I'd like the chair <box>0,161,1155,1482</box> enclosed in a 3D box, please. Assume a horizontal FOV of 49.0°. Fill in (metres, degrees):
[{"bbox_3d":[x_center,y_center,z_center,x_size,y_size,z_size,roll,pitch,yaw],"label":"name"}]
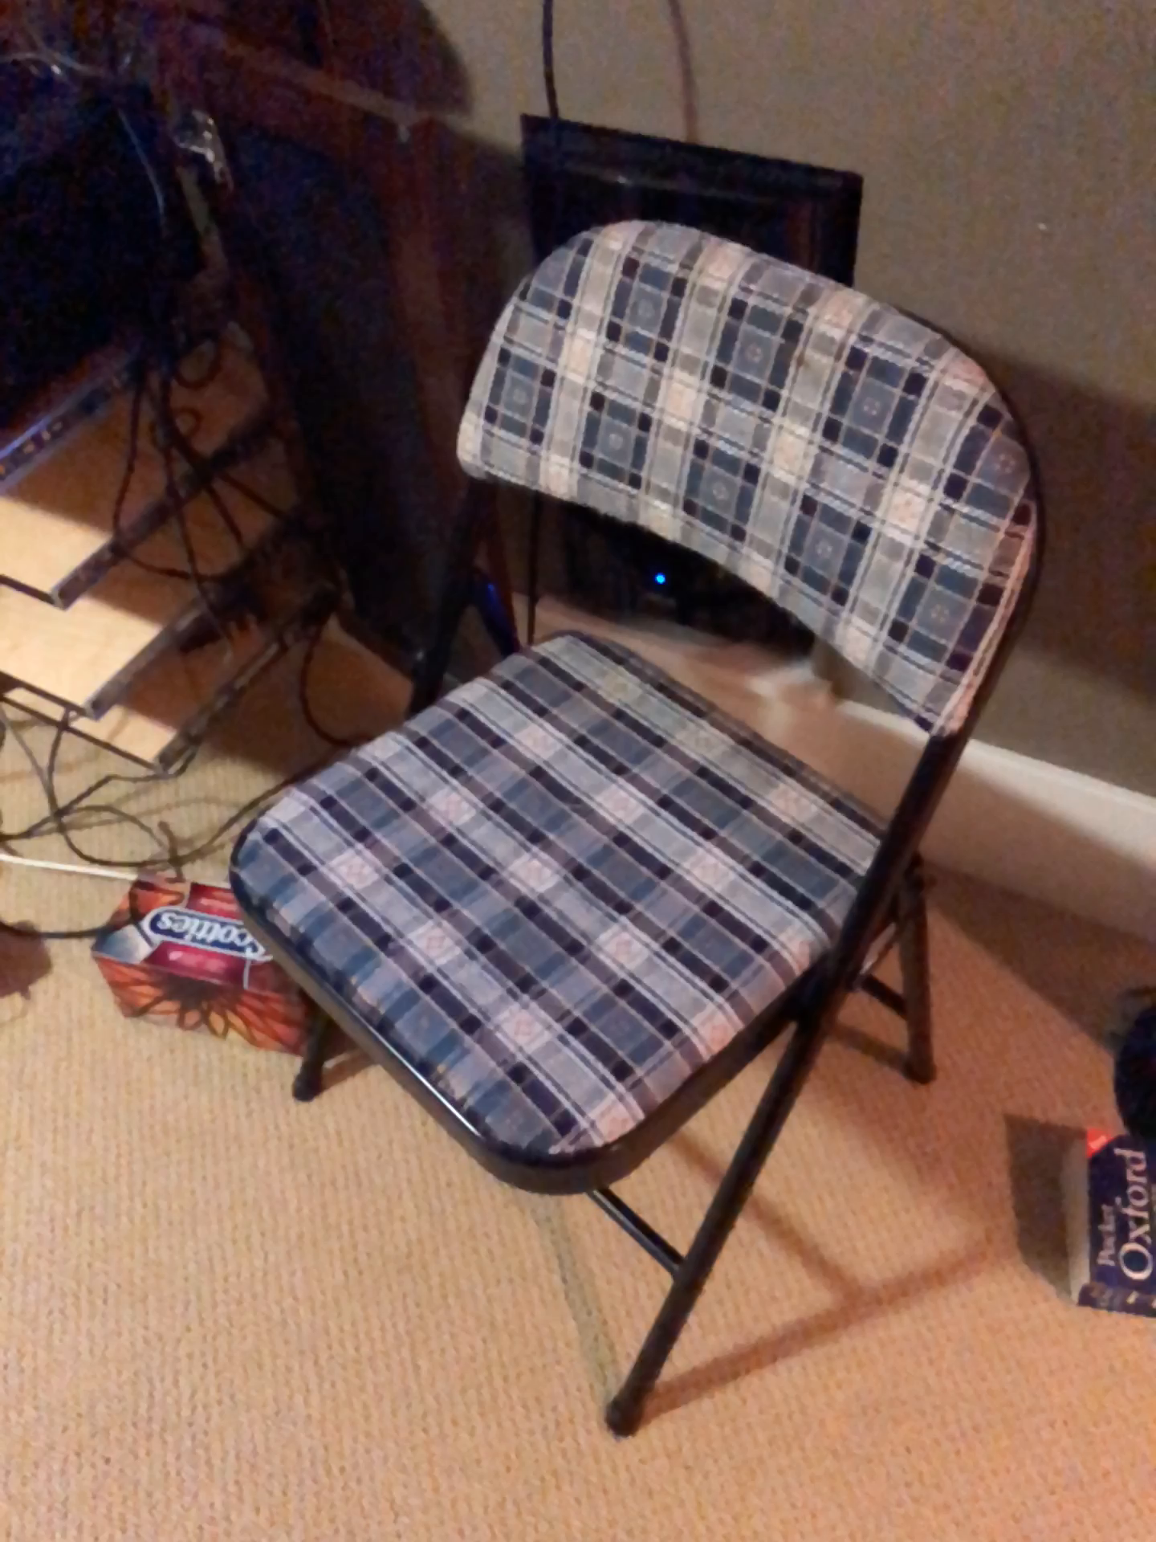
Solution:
[{"bbox_3d":[0.039,0.045,0.991,0.561,0.706,0.502,-36,54,-24],"label":"chair"}]
